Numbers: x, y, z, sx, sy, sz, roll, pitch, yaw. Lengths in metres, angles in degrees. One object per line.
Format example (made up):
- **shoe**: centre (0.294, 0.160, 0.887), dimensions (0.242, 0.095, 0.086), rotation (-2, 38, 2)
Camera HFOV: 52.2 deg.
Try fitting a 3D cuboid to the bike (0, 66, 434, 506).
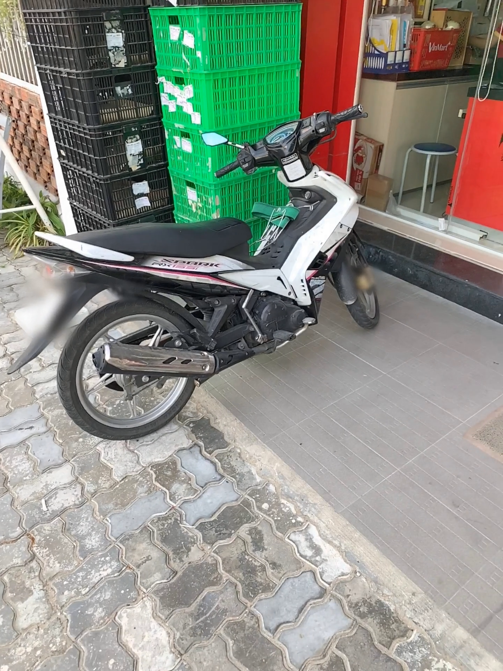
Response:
- **bike**: centre (-0.069, -0.398, 2.267), dimensions (1.818, 1.186, 0.669), rotation (-28, 41, -35)
